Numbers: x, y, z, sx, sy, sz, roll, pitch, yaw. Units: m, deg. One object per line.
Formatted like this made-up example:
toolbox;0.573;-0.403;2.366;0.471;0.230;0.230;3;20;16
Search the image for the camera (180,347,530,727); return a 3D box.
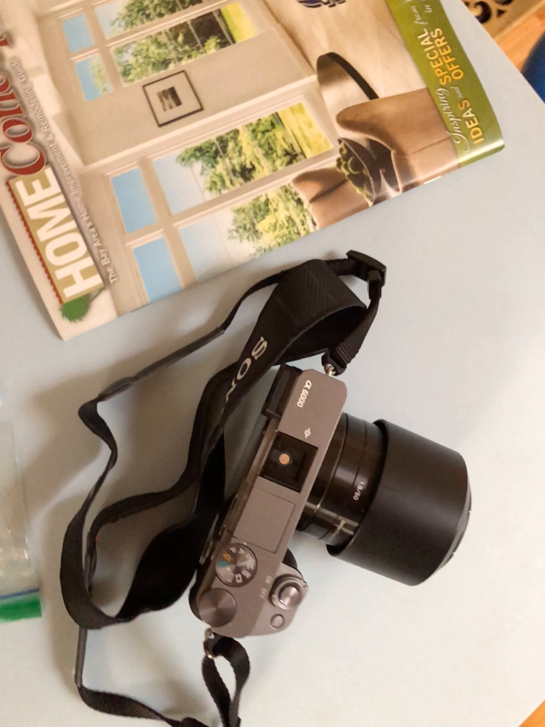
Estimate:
camera;0.034;0.076;0.293;0.110;0.070;0.130;24;85;-5
